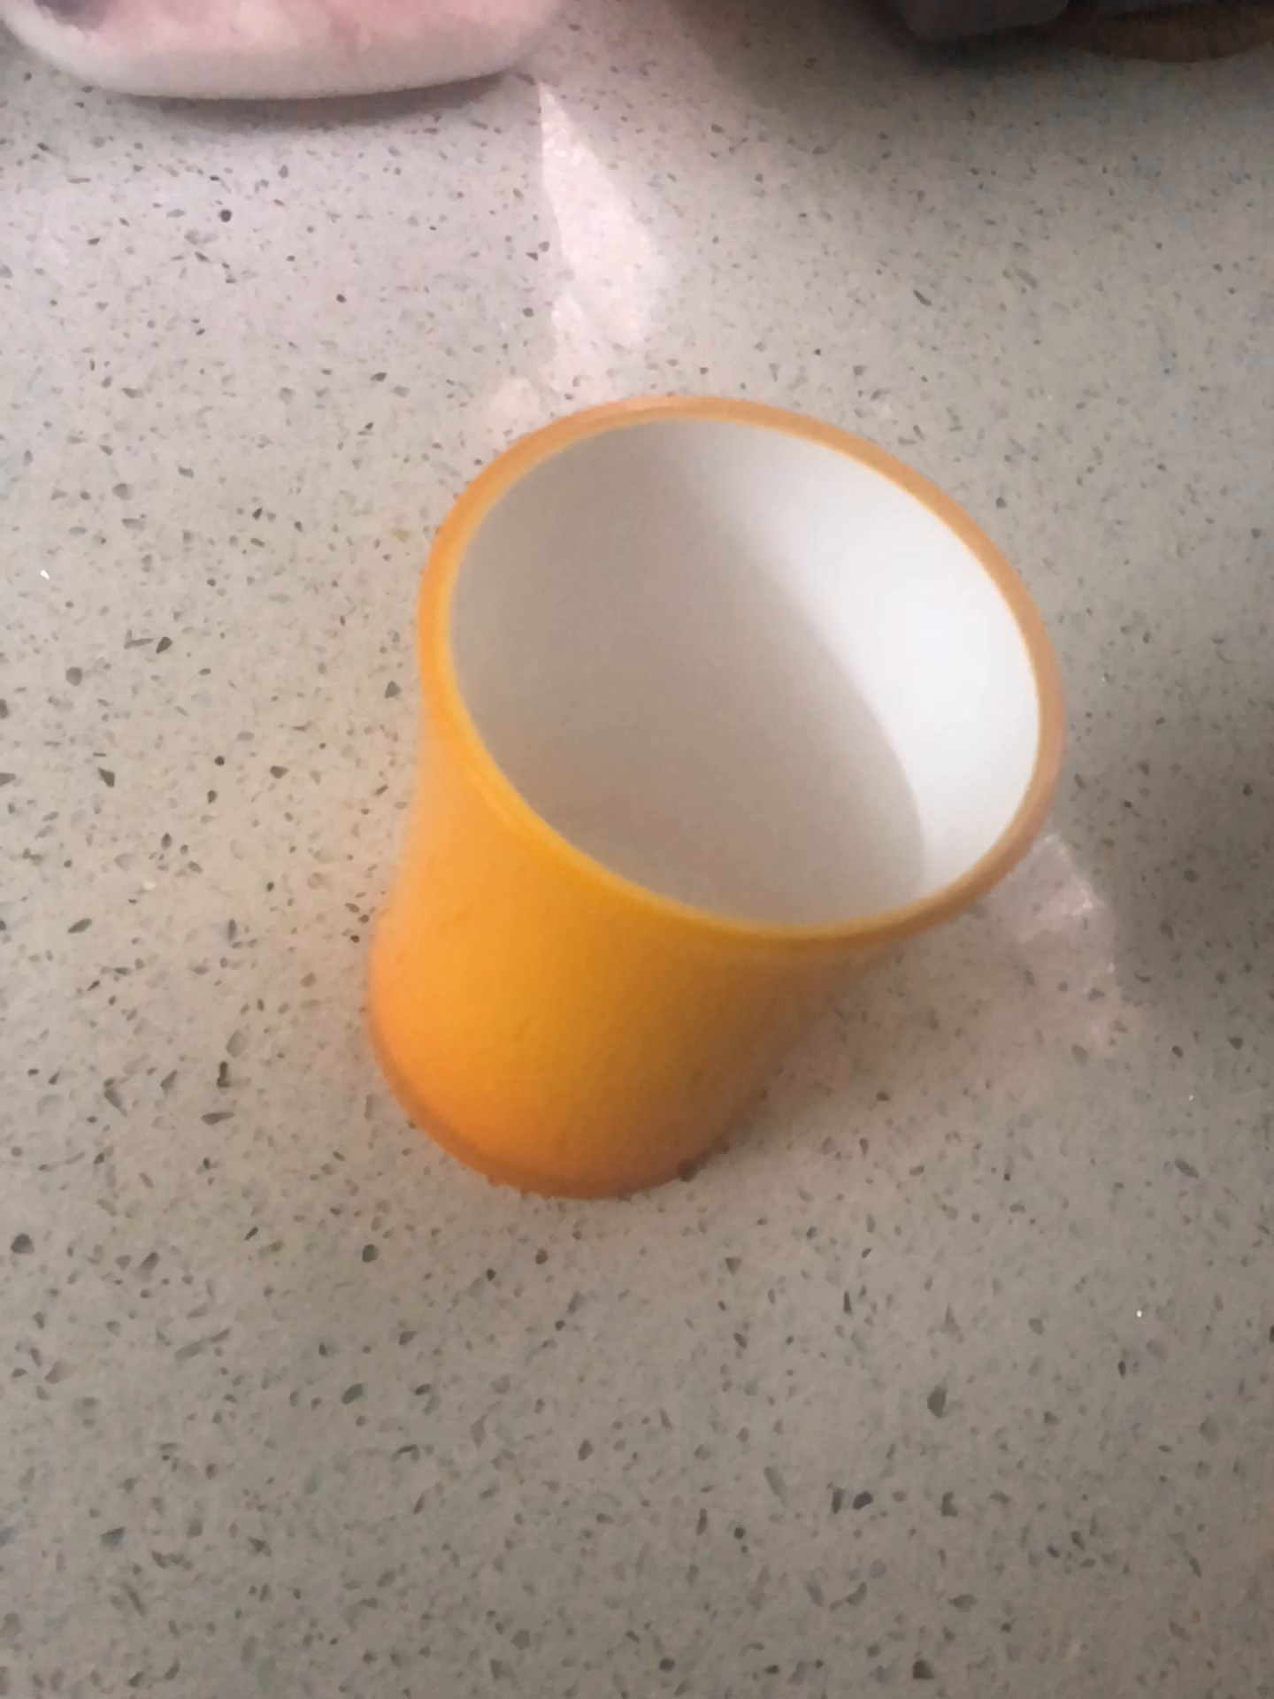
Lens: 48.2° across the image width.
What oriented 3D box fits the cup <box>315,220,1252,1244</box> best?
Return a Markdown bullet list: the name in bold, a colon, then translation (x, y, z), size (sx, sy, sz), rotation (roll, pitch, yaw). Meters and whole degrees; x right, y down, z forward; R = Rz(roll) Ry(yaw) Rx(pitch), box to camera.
- **cup**: translation (0.004, -0.002, 0.188), size (0.080, 0.110, 0.080), rotation (7, 61, -12)
